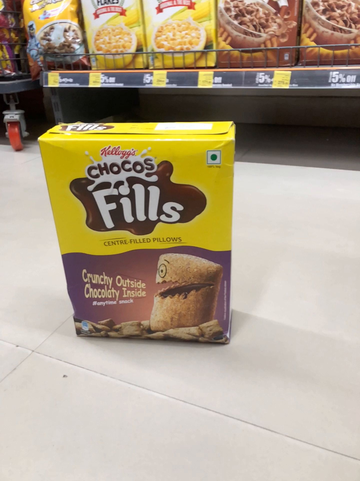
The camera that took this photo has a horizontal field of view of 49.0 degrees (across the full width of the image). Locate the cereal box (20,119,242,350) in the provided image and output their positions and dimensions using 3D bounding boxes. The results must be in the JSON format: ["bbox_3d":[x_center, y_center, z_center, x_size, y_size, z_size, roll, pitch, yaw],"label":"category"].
[{"bbox_3d":[-0.035,-0.005,0.415,0.190,0.219,0.080,2,27,9],"label":"cereal box"}]
